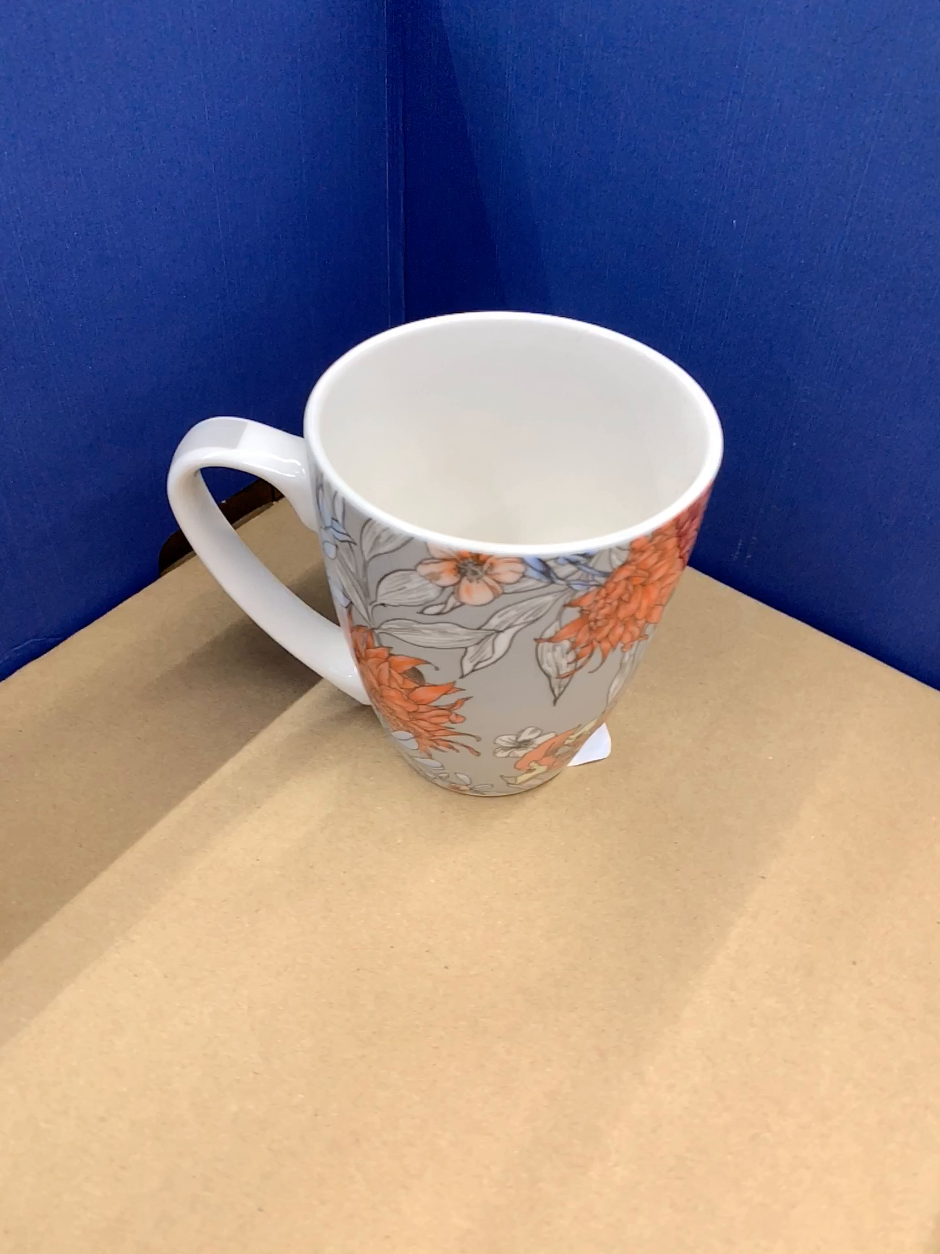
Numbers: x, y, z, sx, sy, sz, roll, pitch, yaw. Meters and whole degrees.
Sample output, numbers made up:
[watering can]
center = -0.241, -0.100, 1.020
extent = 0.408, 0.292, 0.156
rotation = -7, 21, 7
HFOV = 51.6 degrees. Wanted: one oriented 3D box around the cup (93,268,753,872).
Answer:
[cup]
center = -0.004, -0.017, 0.233
extent = 0.117, 0.085, 0.092
rotation = 12, 44, 8
